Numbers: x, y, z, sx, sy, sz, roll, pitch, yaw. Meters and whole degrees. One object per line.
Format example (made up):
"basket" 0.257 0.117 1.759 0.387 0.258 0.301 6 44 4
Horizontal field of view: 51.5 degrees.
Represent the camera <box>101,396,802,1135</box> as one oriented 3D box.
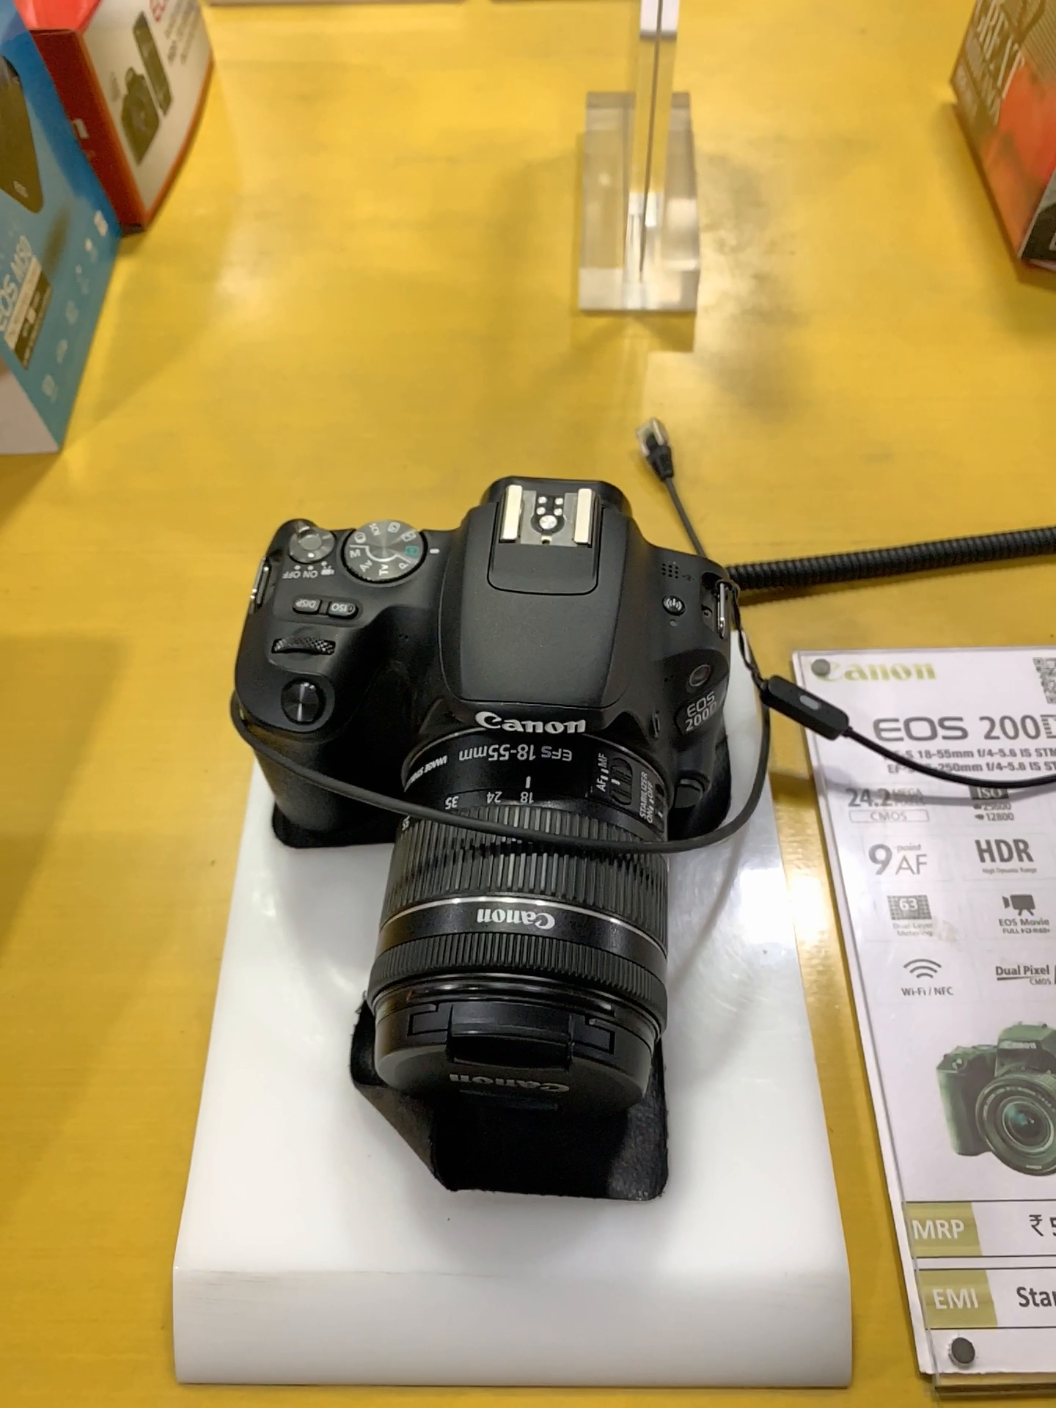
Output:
"camera" -0.010 0.008 0.261 0.120 0.070 0.160 1 55 3
